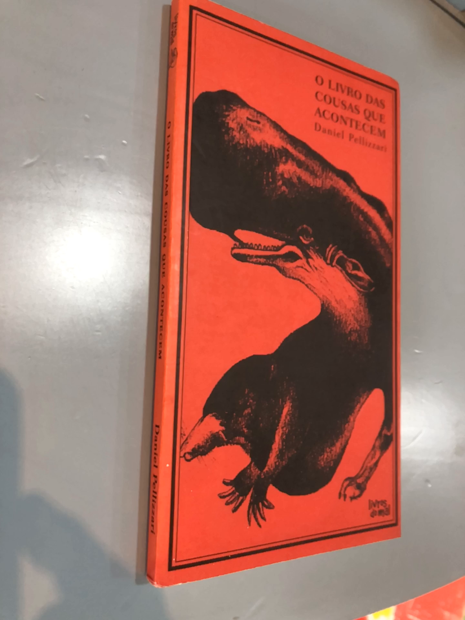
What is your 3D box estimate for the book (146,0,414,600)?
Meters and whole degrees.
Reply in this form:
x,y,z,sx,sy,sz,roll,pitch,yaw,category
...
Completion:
x,y,z,sx,sy,sz,roll,pitch,yaw,category
0.025,-0.008,0.202,0.111,0.016,0.200,4,85,-30,book
